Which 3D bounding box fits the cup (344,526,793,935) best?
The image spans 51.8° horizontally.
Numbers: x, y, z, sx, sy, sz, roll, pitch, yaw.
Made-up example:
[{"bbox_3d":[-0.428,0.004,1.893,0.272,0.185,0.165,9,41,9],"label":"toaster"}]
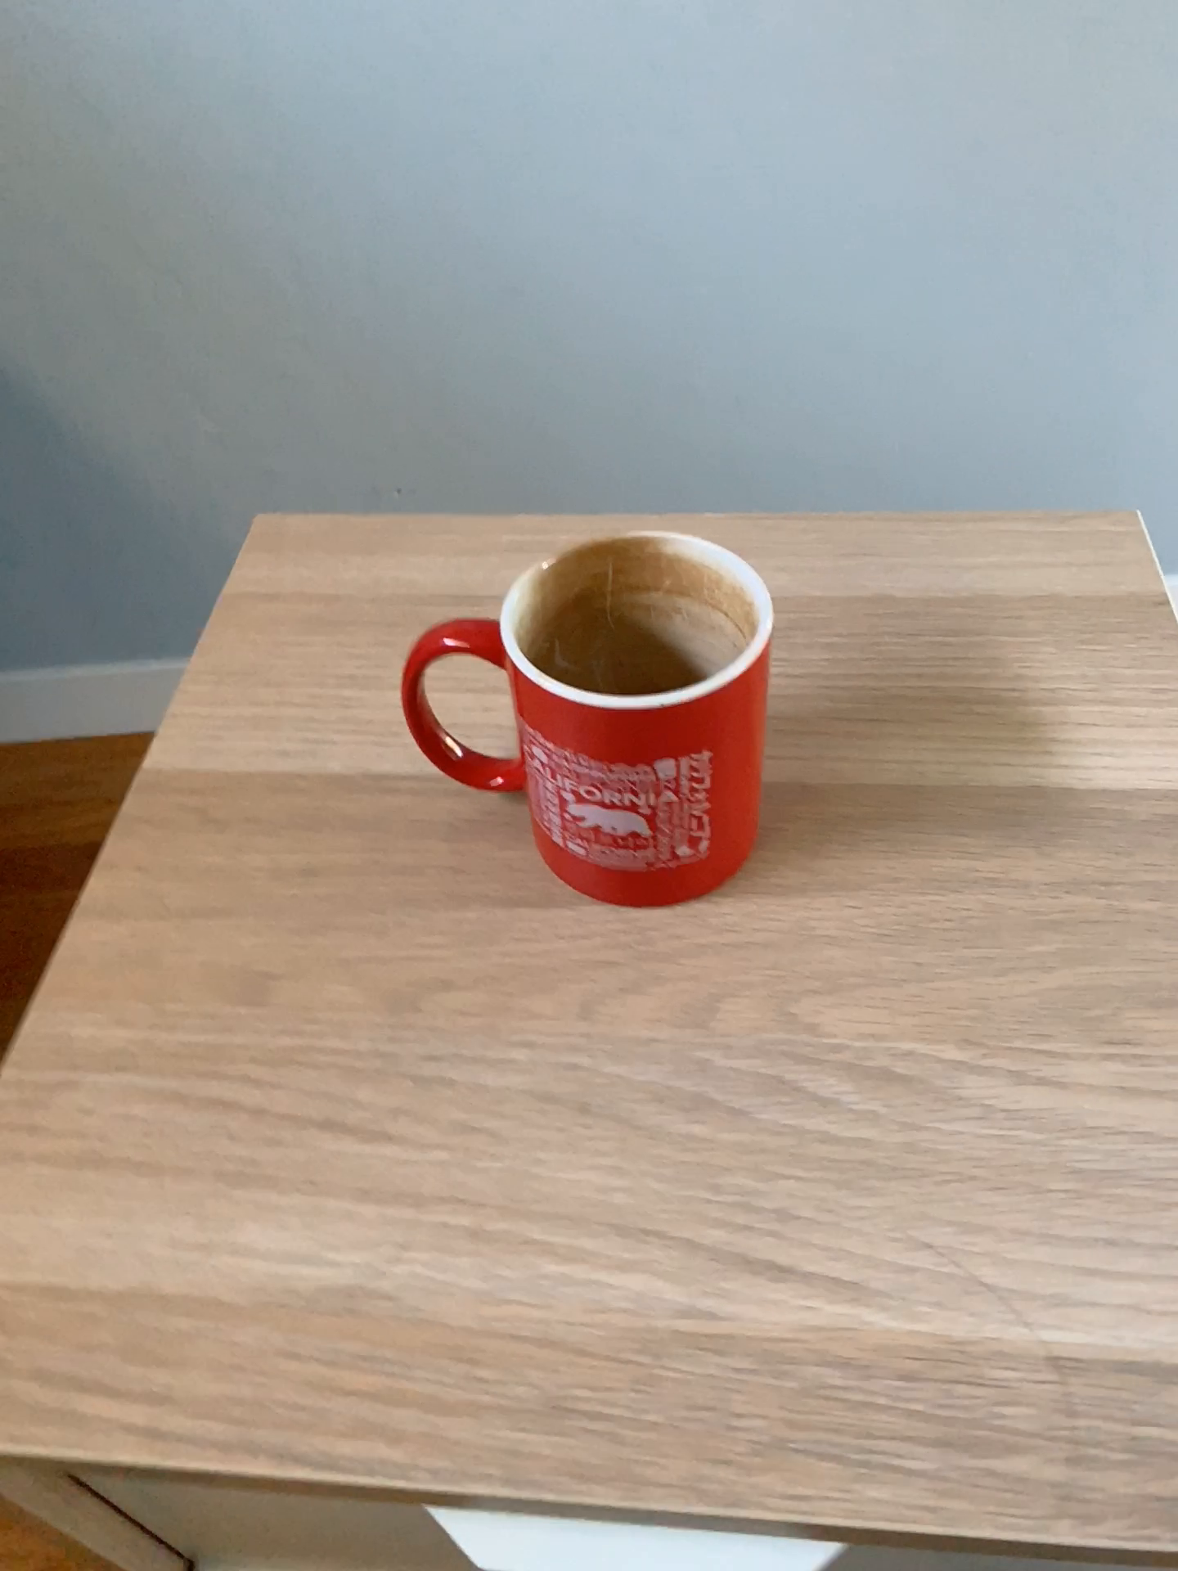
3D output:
[{"bbox_3d":[-0.001,-0.018,0.394,0.120,0.100,0.070,7,49,11],"label":"cup"}]
